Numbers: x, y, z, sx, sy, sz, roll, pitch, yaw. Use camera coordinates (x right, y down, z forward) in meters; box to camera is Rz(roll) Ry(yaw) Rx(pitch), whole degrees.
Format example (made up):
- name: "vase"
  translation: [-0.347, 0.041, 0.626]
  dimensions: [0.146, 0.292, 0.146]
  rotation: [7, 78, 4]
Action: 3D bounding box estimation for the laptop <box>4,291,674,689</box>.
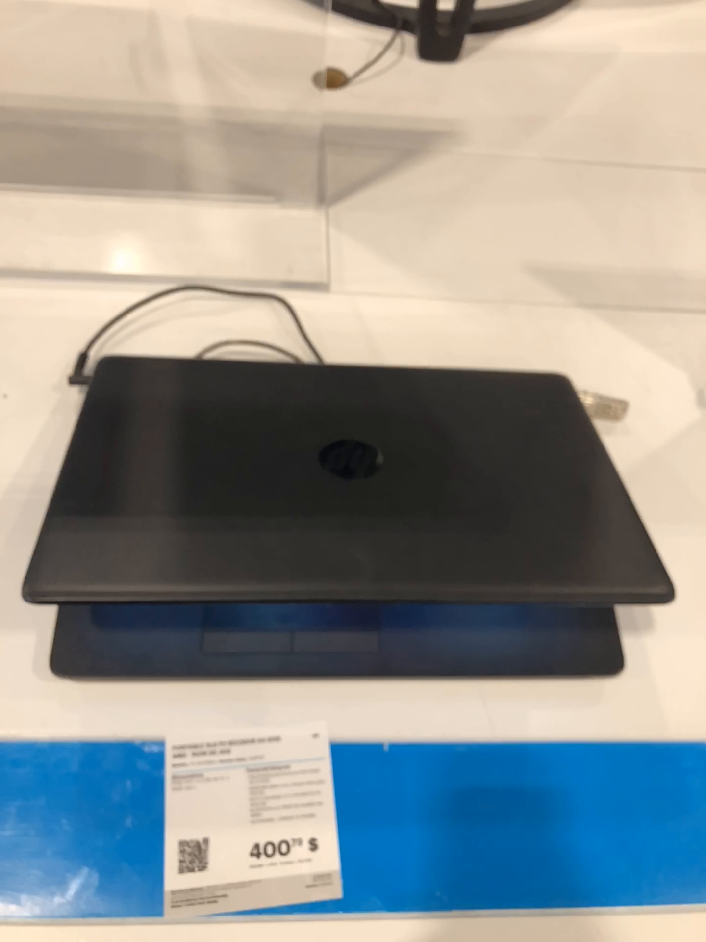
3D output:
- name: "laptop"
  translation: [-0.002, 0.009, 0.523]
  dimensions: [0.366, 0.092, 0.235]
  rotation: [1, 59, -10]
